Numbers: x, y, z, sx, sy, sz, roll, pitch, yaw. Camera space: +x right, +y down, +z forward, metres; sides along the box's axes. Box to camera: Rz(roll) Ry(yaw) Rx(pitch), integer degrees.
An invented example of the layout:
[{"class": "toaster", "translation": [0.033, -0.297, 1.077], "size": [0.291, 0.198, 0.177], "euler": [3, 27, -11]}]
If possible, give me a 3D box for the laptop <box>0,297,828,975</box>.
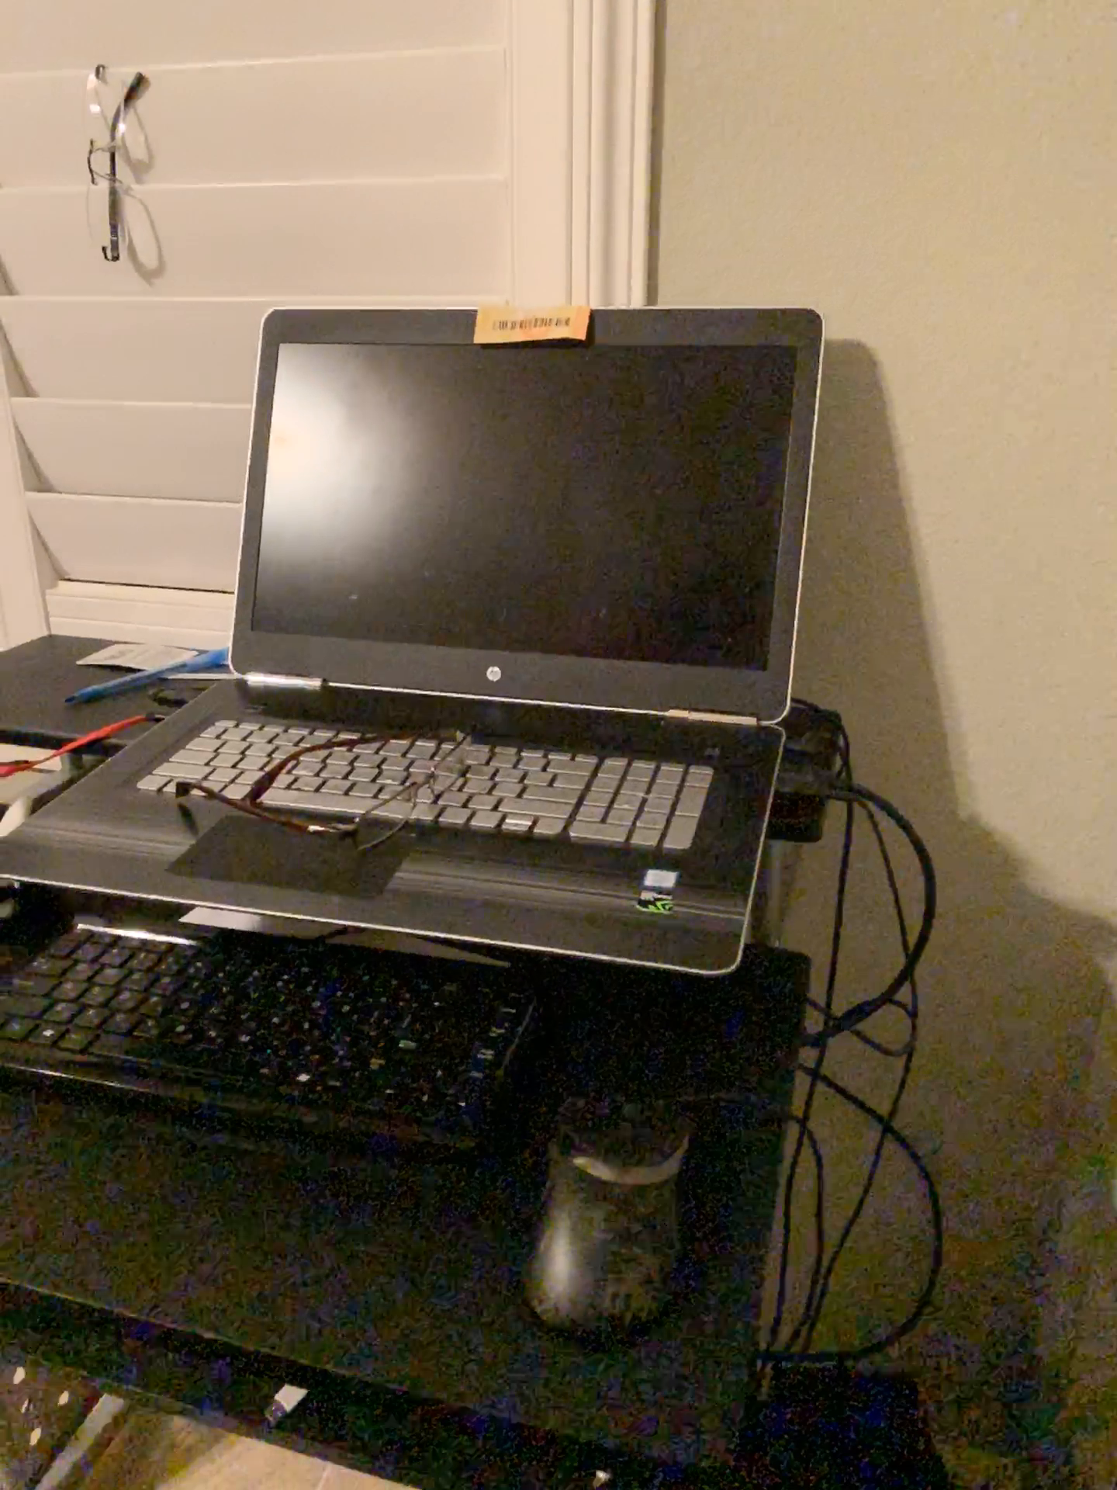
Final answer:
[{"class": "laptop", "translation": [-0.071, -0.124, 0.735], "size": [0.433, 0.263, 0.421], "euler": [5, 25, 15]}]
